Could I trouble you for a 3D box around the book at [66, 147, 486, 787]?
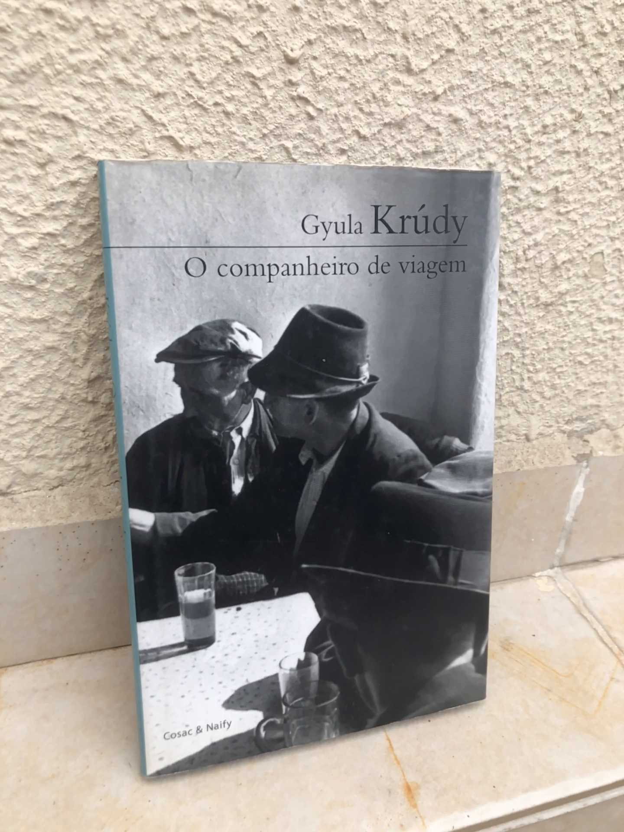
[{"bbox_3d":[-0.007,0.018,0.246,0.137,0.205,0.019,-4,12,-19],"label":"book"}]
